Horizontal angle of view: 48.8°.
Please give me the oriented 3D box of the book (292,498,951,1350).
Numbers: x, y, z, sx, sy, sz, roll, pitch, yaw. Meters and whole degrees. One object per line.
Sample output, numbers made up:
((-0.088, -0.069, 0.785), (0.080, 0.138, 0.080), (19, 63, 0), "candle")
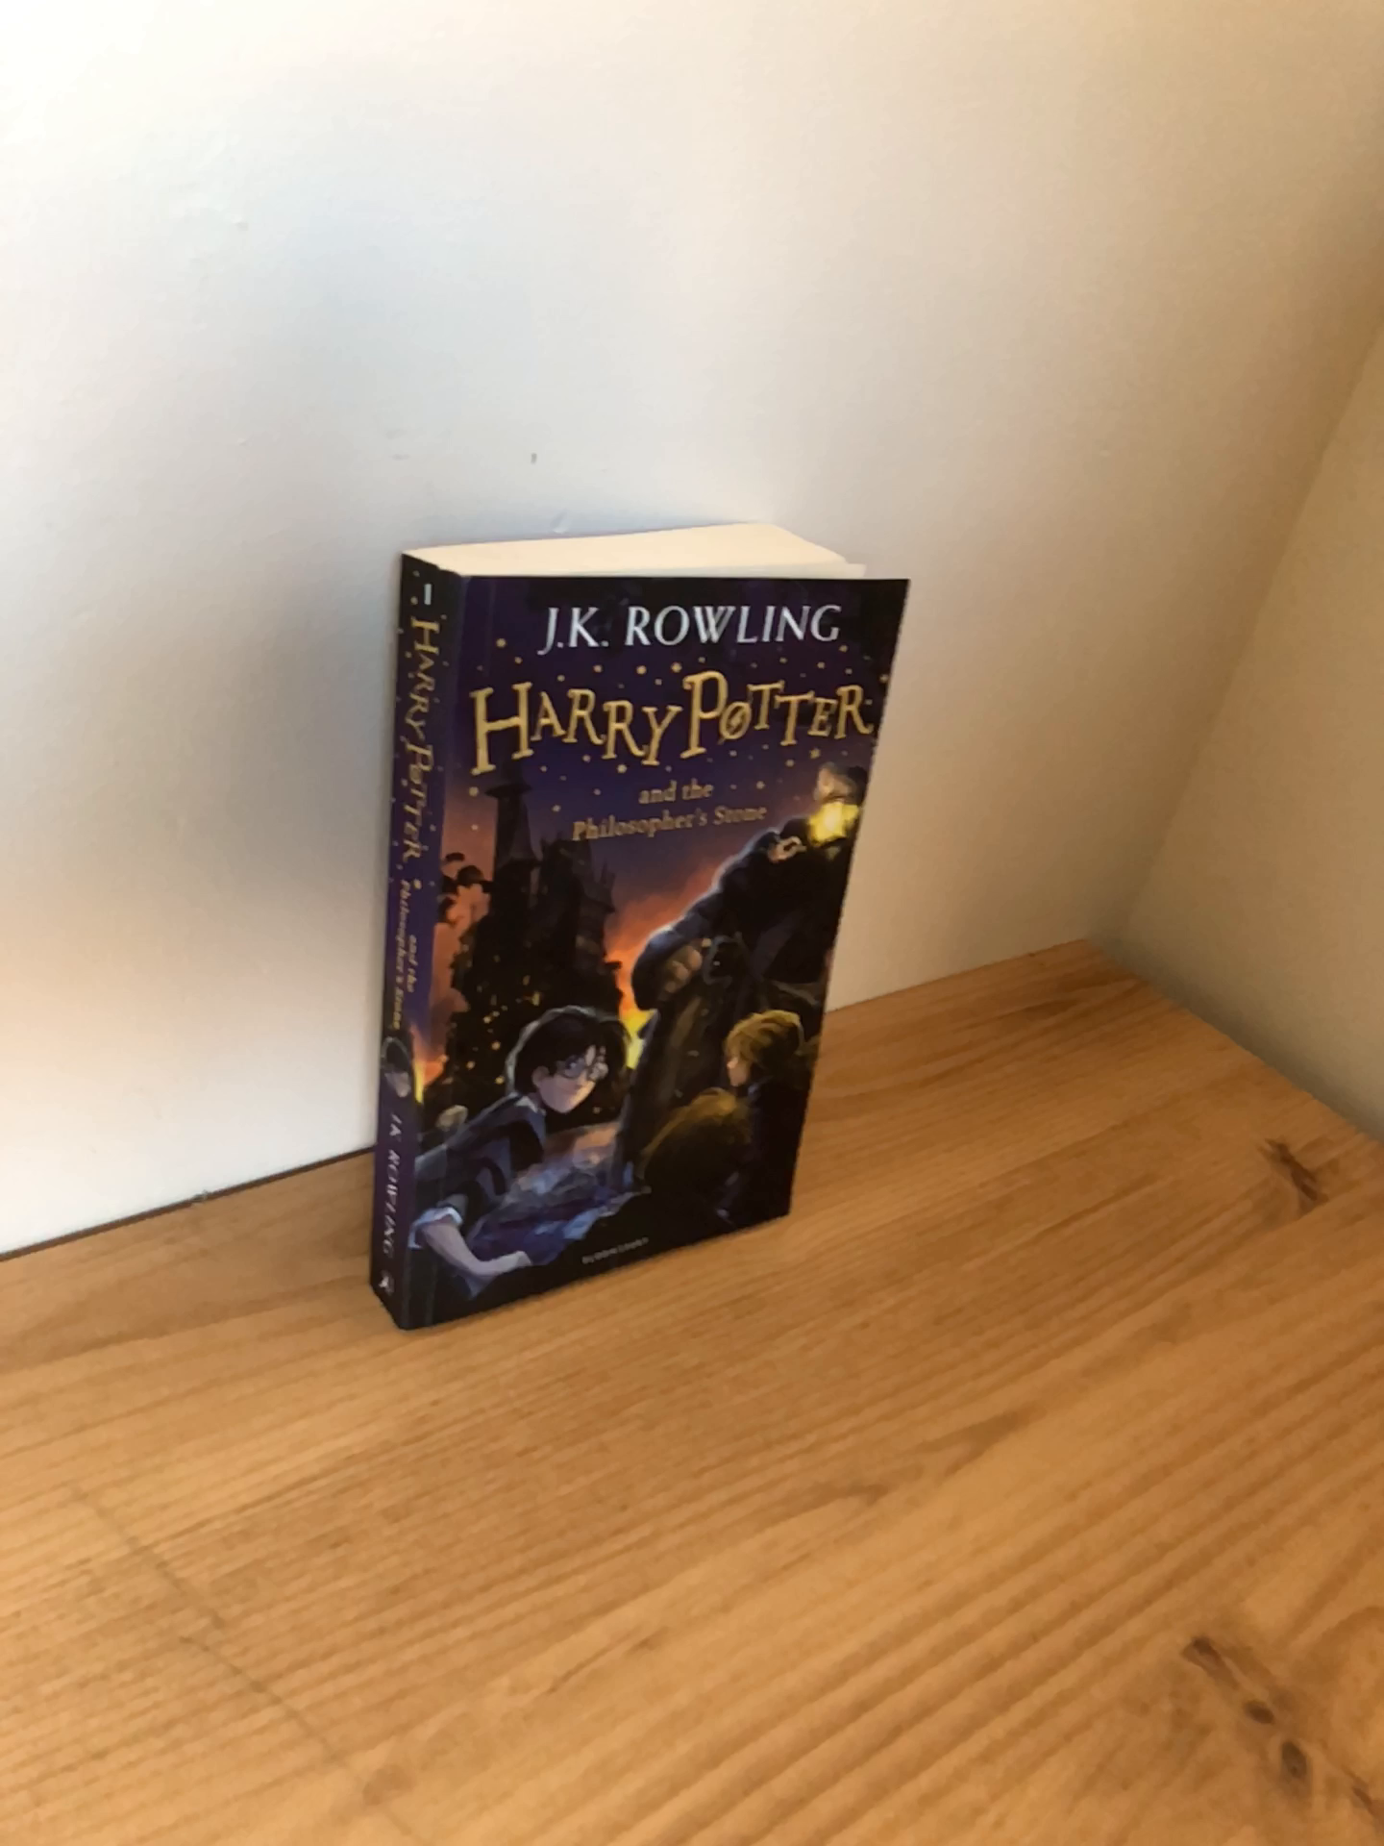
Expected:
((-0.022, -0.004, 0.404), (0.135, 0.192, 0.068), (-8, 27, -37), "book")
